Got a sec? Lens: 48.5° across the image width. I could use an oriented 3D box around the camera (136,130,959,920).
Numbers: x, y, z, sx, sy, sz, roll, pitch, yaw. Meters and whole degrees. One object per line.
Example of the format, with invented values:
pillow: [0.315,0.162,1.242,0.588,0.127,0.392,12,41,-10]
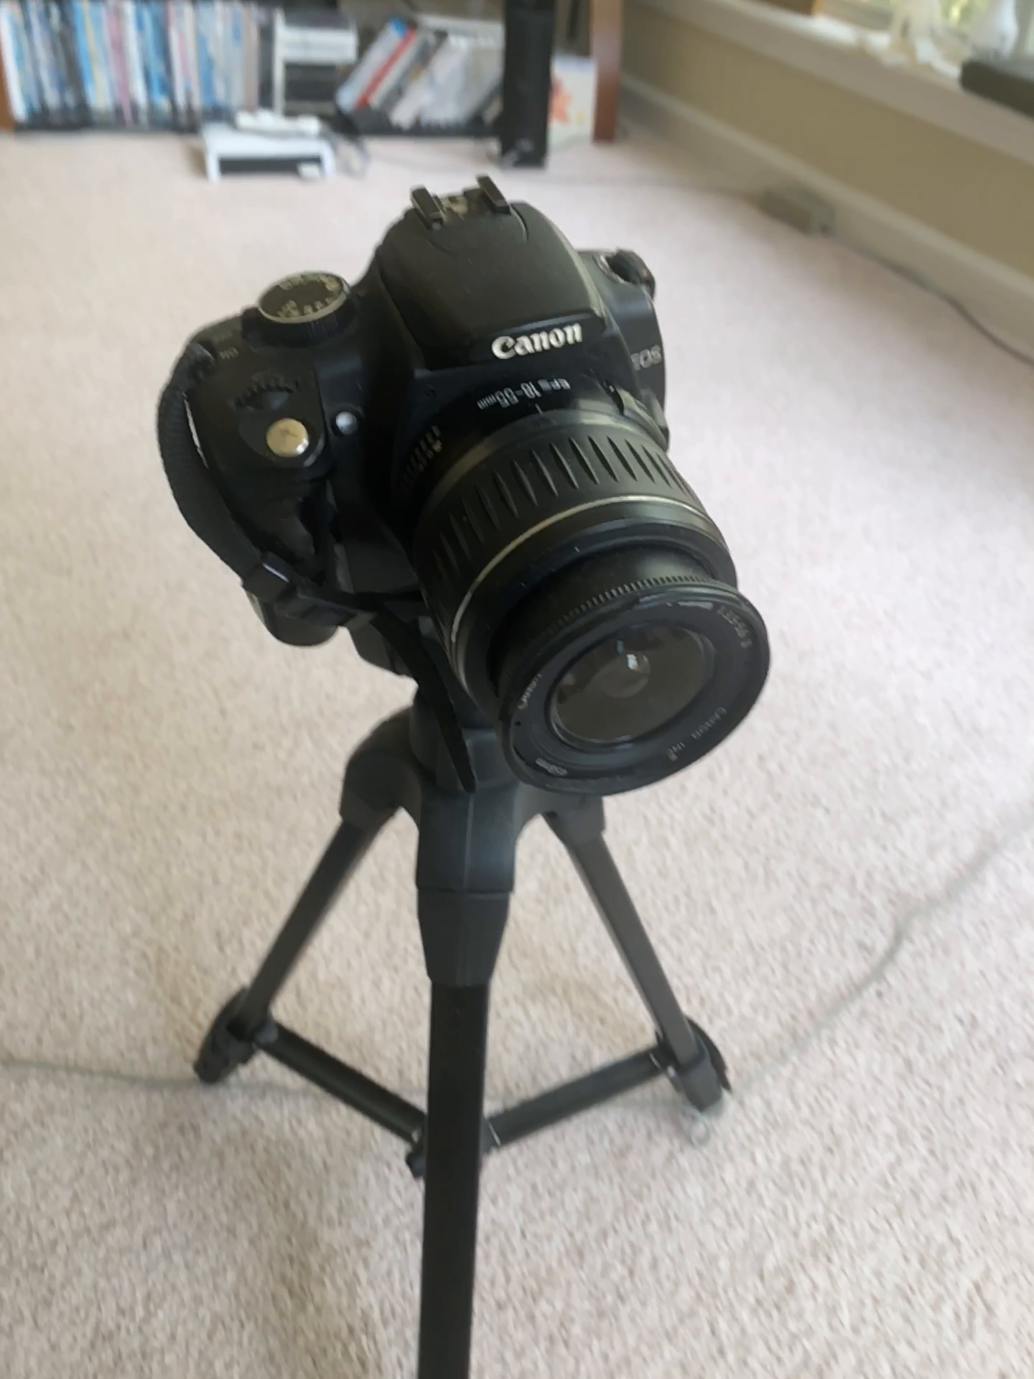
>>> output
camera: [-0.003,-0.048,0.278,0.130,0.093,0.143,-17,50,-13]
